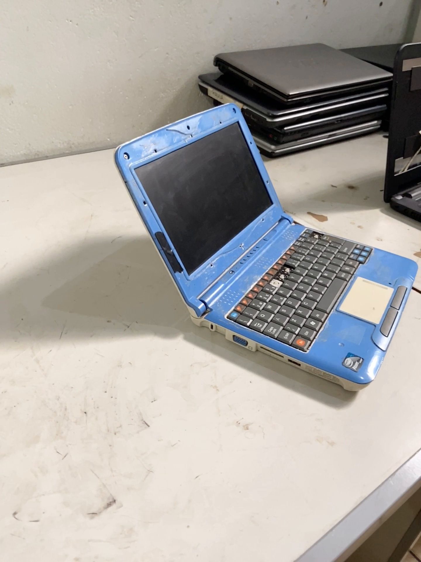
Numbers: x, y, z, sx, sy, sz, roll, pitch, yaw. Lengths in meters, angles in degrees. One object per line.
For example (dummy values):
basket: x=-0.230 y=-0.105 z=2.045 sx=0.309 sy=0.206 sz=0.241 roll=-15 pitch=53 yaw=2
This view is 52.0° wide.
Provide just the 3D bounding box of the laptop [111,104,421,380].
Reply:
laptop: x=0.087 y=-0.075 z=0.493 sx=0.287 sy=0.149 sz=0.242 roll=22 pitch=40 yaw=23
